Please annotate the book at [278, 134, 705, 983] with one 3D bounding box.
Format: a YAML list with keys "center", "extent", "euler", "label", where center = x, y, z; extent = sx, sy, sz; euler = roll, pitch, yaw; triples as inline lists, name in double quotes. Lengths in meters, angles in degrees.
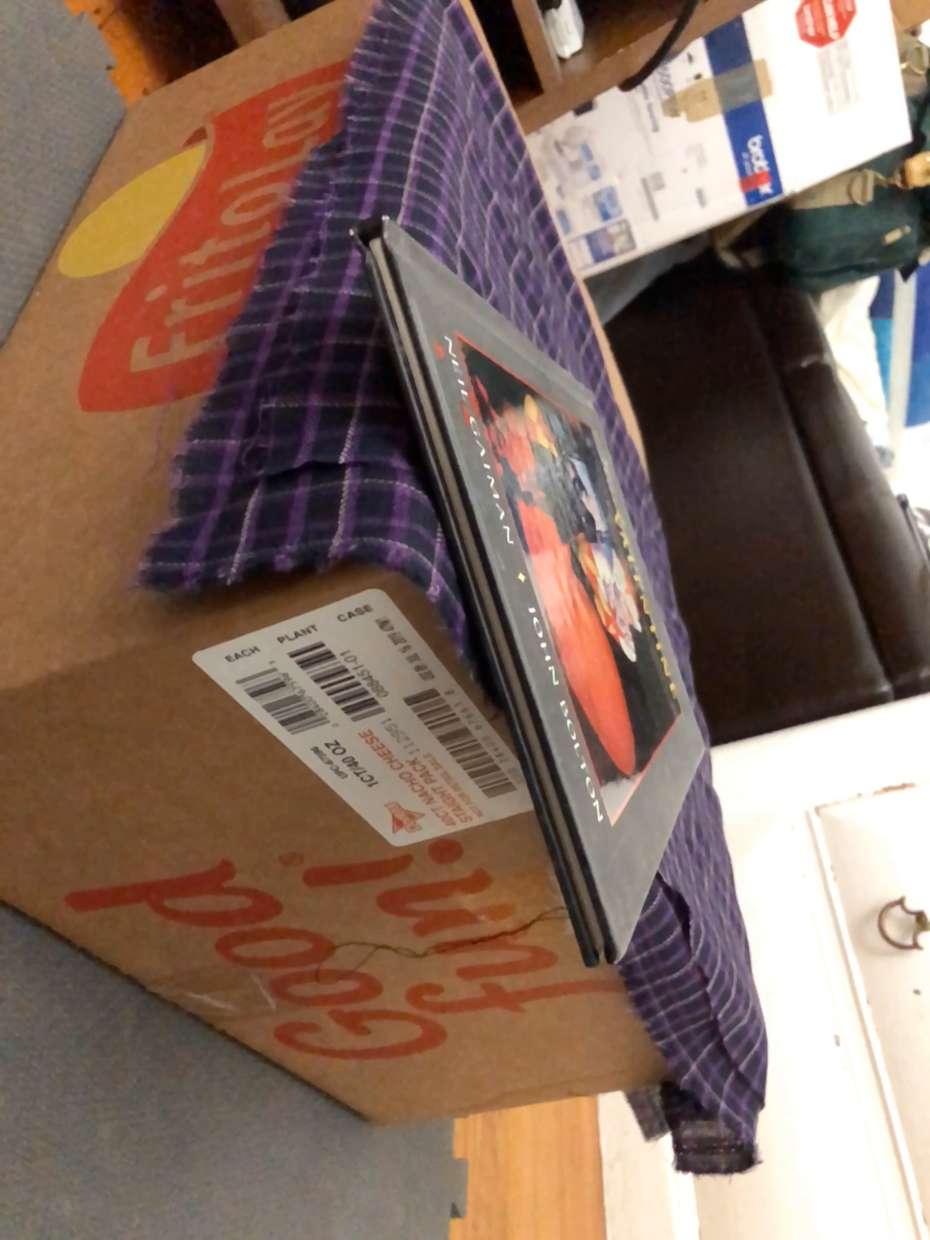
- center: [0.036, -0.023, 0.351]
  extent: [0.281, 0.020, 0.180]
  euler: [-14, 87, -73]
  label: "book"
